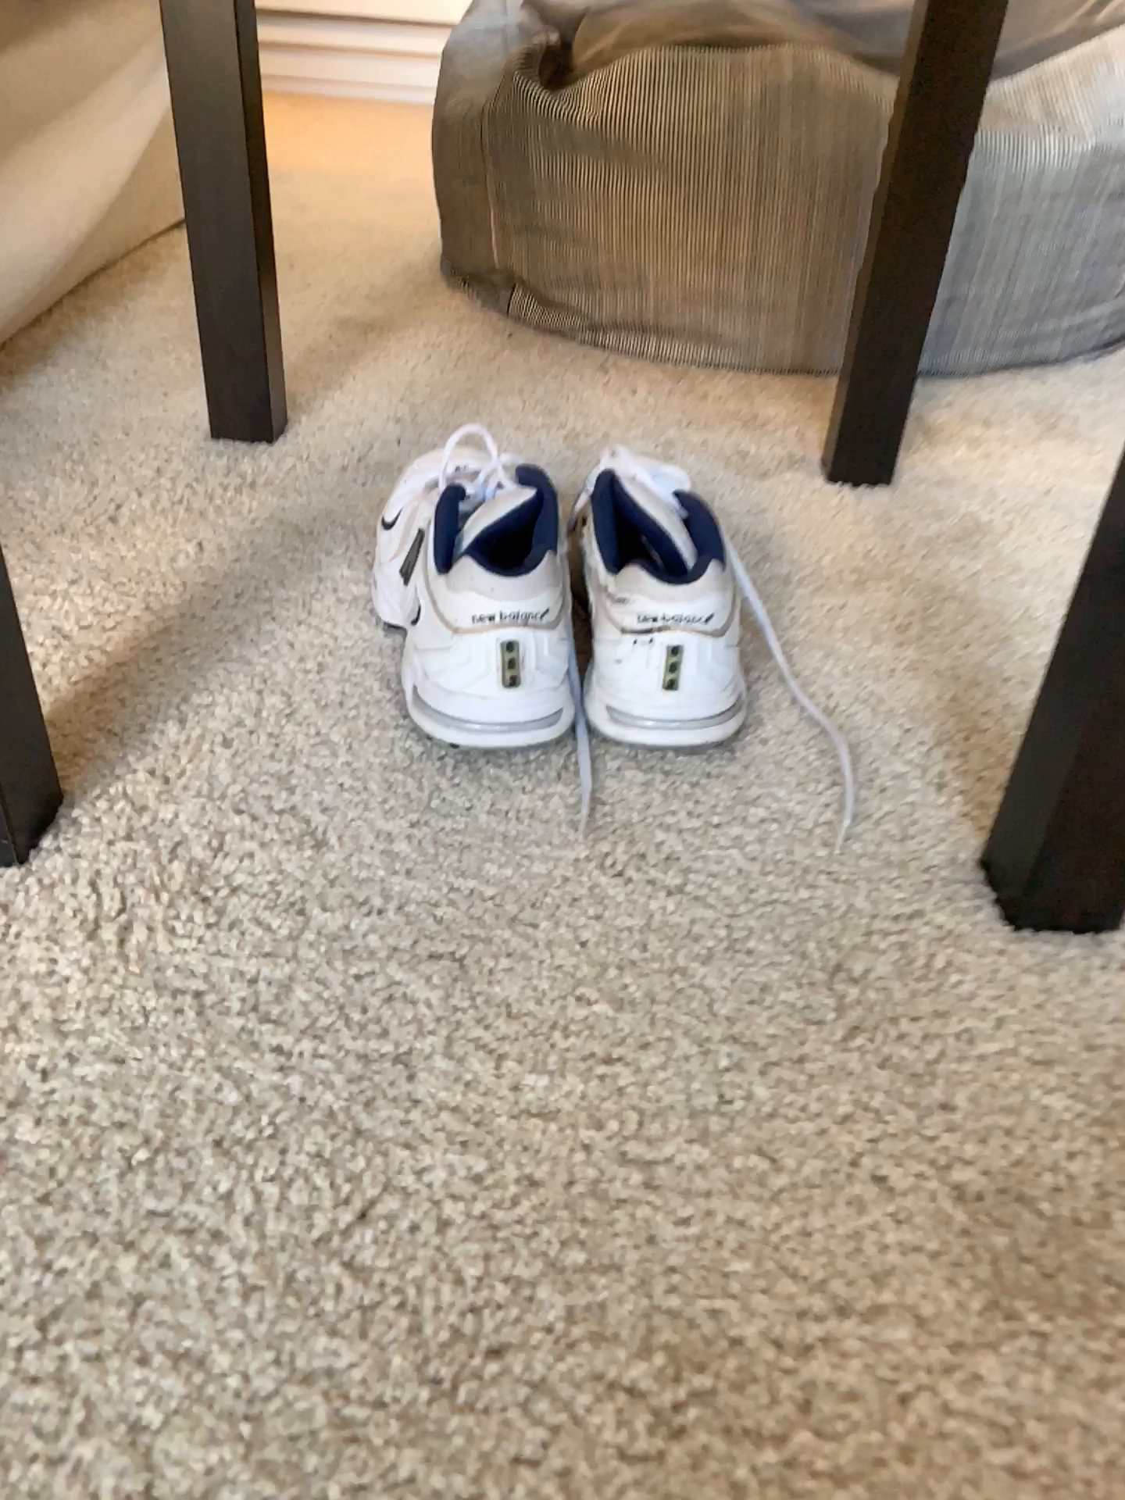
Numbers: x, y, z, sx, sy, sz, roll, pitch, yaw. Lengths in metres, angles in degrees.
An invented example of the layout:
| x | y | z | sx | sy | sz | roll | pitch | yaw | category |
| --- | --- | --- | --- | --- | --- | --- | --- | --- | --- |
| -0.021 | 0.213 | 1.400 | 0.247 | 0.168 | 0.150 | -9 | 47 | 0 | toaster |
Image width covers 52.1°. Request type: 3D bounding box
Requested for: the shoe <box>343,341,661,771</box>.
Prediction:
| x | y | z | sx | sy | sz | roll | pitch | yaw | category |
| --- | --- | --- | --- | --- | --- | --- | --- | --- | --- |
| -0.049 | -0.124 | 0.622 | 0.110 | 0.099 | 0.302 | -5 | 37 | -13 | shoe |

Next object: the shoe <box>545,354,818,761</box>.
| x | y | z | sx | sy | sz | roll | pitch | yaw | category |
| --- | --- | --- | --- | --- | --- | --- | --- | --- | --- |
| 0.050 | -0.126 | 0.656 | 0.110 | 0.099 | 0.302 | 2 | 36 | -4 | shoe |
